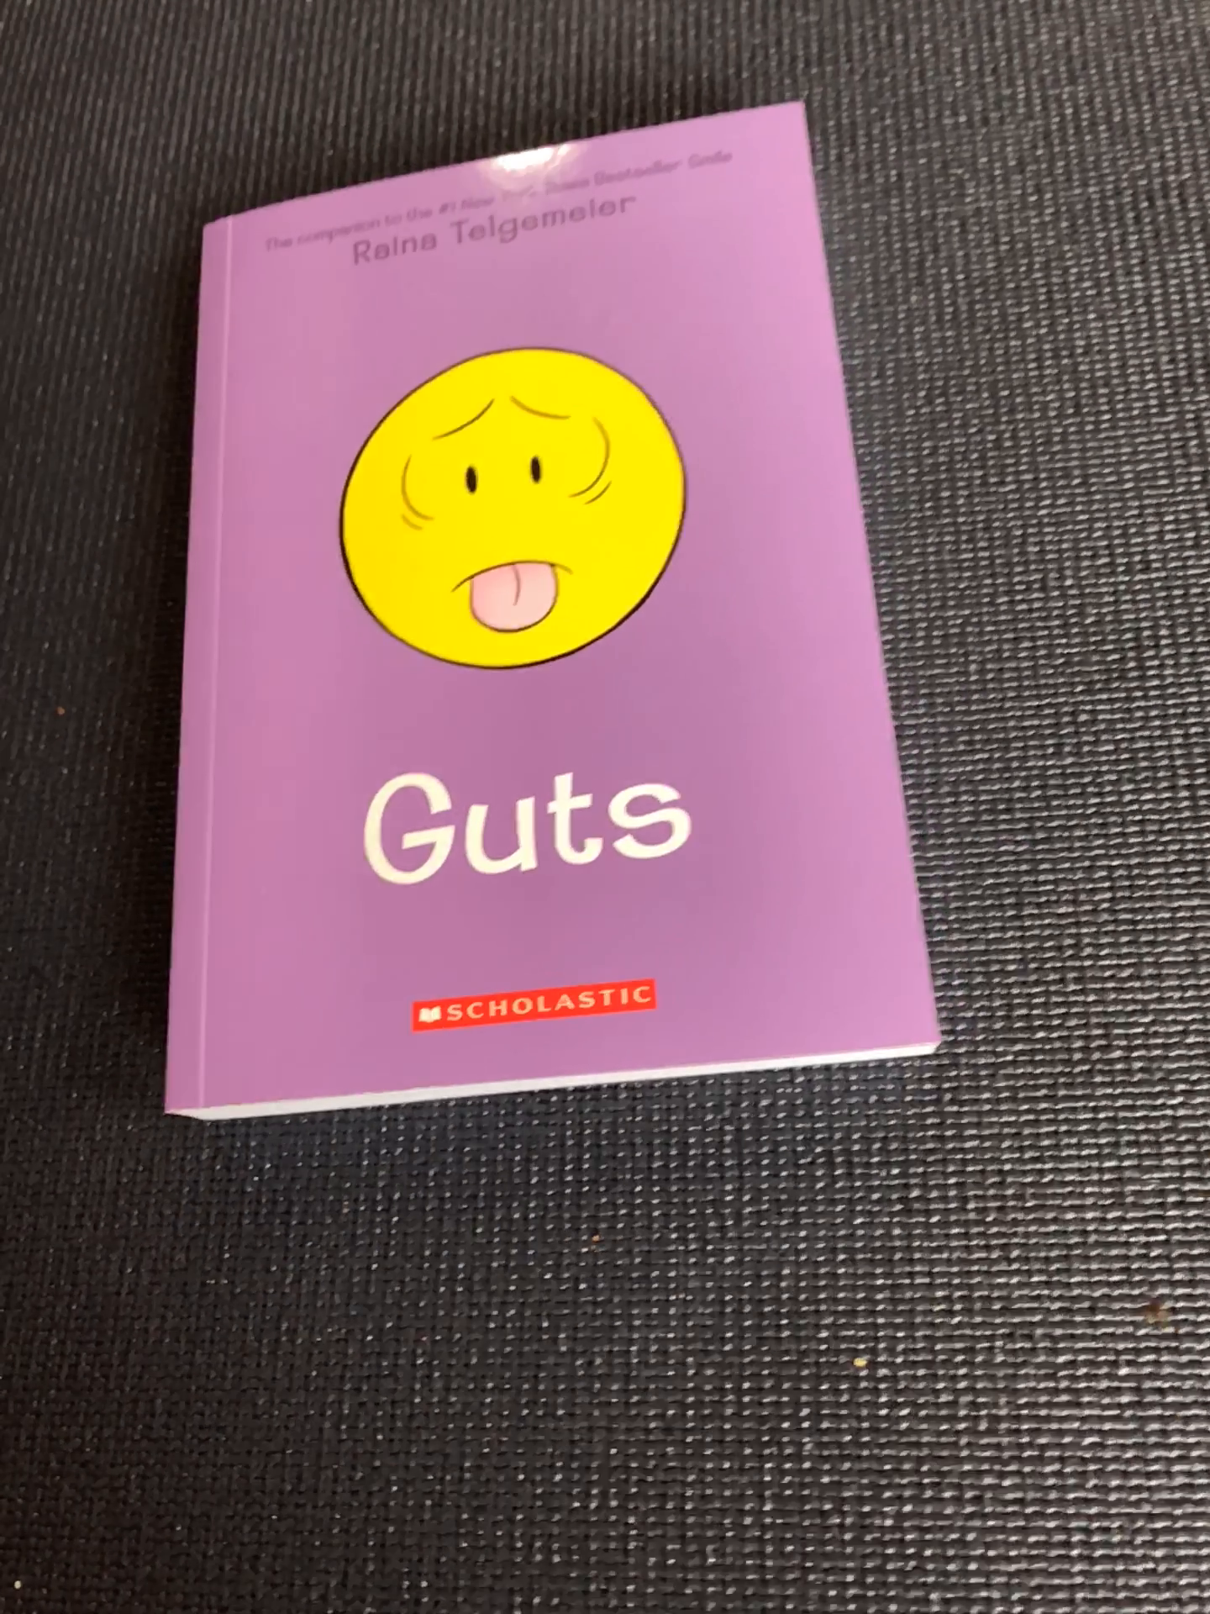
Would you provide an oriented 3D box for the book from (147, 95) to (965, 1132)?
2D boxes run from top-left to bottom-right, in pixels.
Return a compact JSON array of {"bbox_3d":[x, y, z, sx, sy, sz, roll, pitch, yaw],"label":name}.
[{"bbox_3d":[-0.016,-0.044,0.275,0.143,0.024,0.202,-7,70,9],"label":"book"}]
